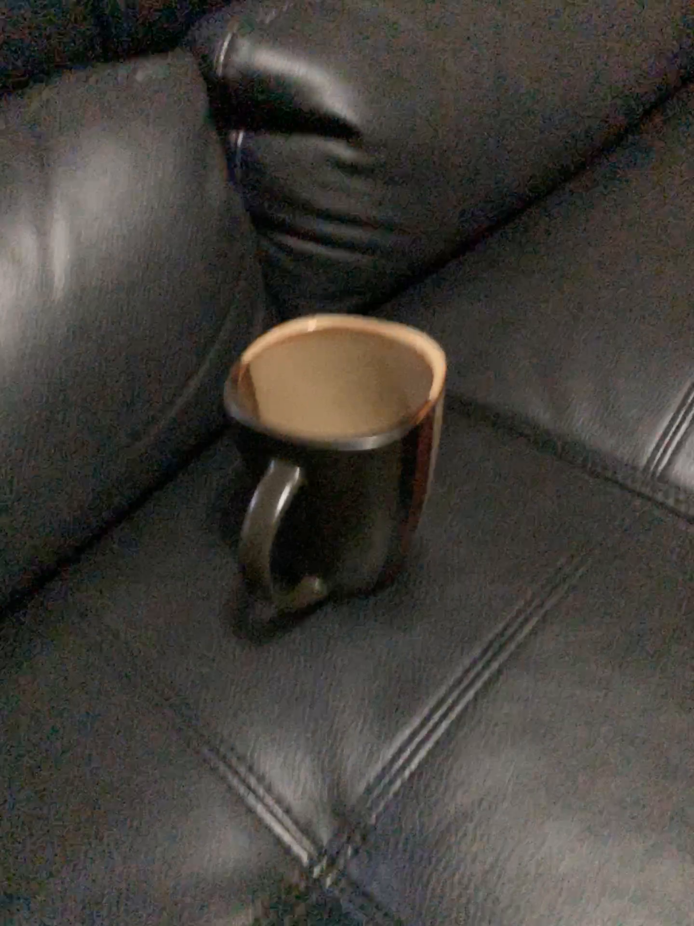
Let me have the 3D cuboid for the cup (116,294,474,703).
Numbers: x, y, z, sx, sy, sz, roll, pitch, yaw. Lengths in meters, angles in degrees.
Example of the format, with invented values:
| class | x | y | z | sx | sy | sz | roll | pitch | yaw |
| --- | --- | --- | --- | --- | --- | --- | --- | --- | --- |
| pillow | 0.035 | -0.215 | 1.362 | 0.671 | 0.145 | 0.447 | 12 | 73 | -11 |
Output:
| class | x | y | z | sx | sy | sz | roll | pitch | yaw |
| --- | --- | --- | --- | --- | --- | --- | --- | --- | --- |
| cup | -0.015 | 0.010 | 0.347 | 0.098 | 0.109 | 0.139 | 19 | 47 | 20 |
